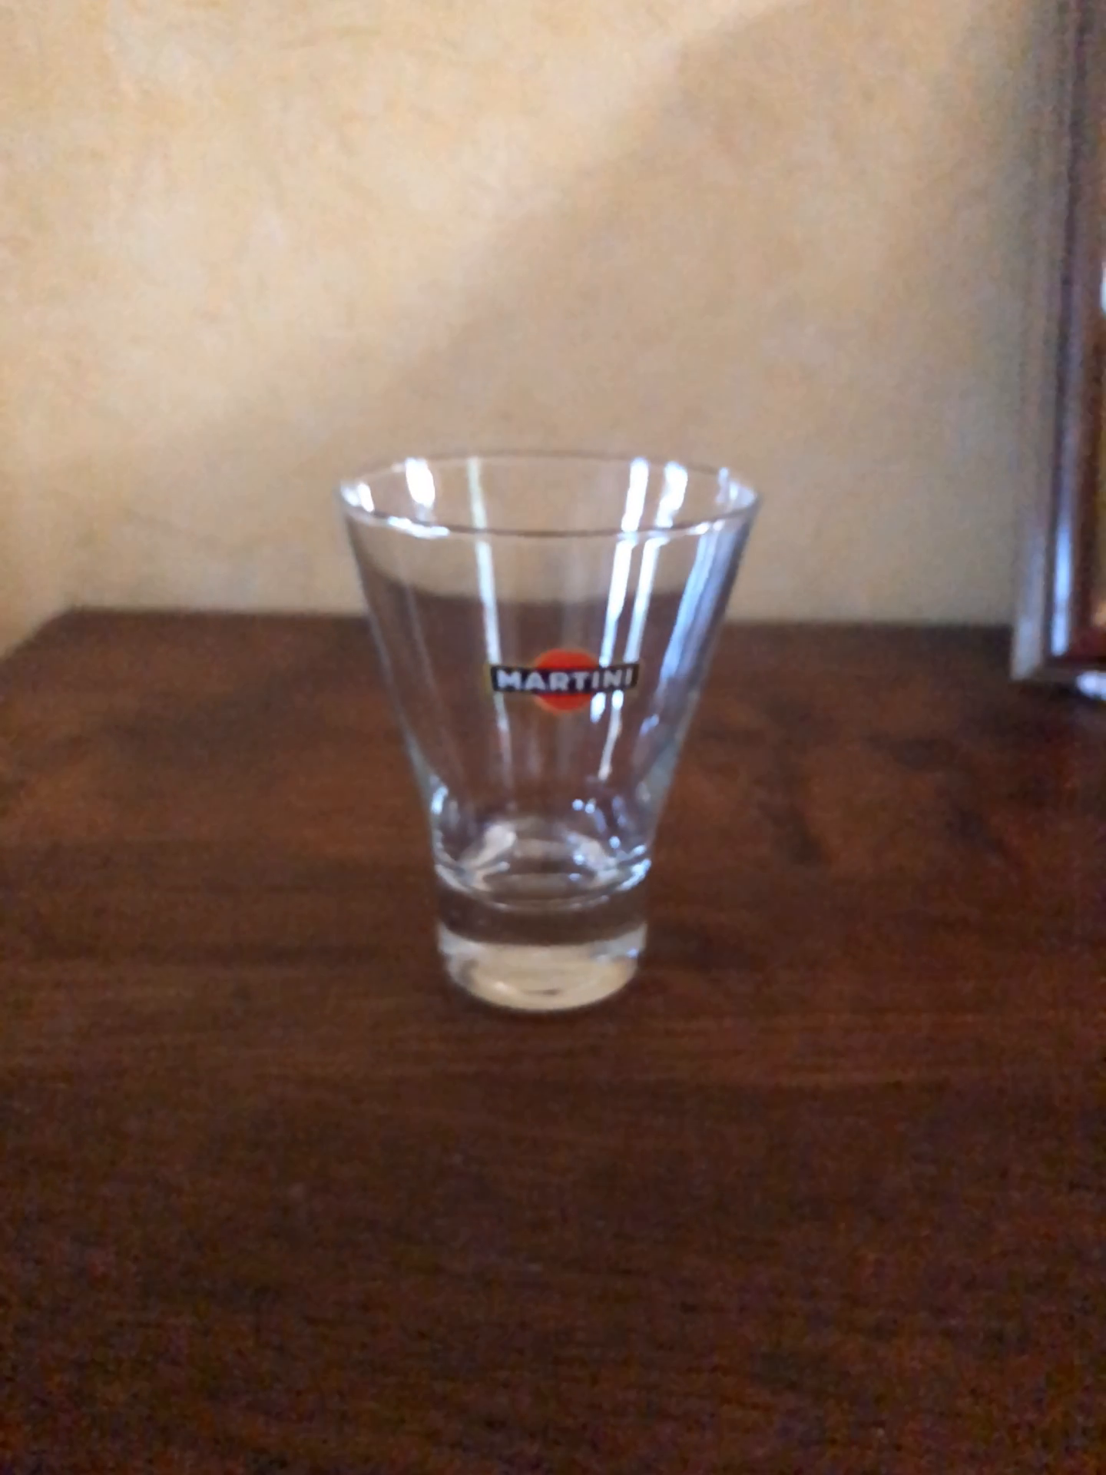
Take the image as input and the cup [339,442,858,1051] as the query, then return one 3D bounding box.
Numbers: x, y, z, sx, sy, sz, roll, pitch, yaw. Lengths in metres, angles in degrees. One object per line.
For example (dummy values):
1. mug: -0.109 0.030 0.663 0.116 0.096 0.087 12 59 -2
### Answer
1. cup: 0.001 -0.006 0.277 0.090 0.099 0.100 -3 22 -9
